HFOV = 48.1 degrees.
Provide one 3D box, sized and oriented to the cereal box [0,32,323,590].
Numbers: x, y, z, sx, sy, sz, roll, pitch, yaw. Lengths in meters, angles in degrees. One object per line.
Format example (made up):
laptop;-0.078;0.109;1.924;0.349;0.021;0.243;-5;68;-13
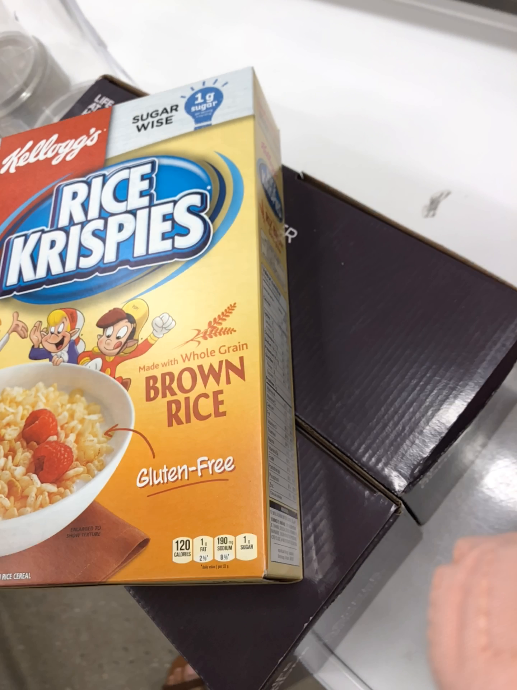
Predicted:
cereal box;-0.087;-0.029;0.369;0.220;0.070;0.330;-8;64;13
